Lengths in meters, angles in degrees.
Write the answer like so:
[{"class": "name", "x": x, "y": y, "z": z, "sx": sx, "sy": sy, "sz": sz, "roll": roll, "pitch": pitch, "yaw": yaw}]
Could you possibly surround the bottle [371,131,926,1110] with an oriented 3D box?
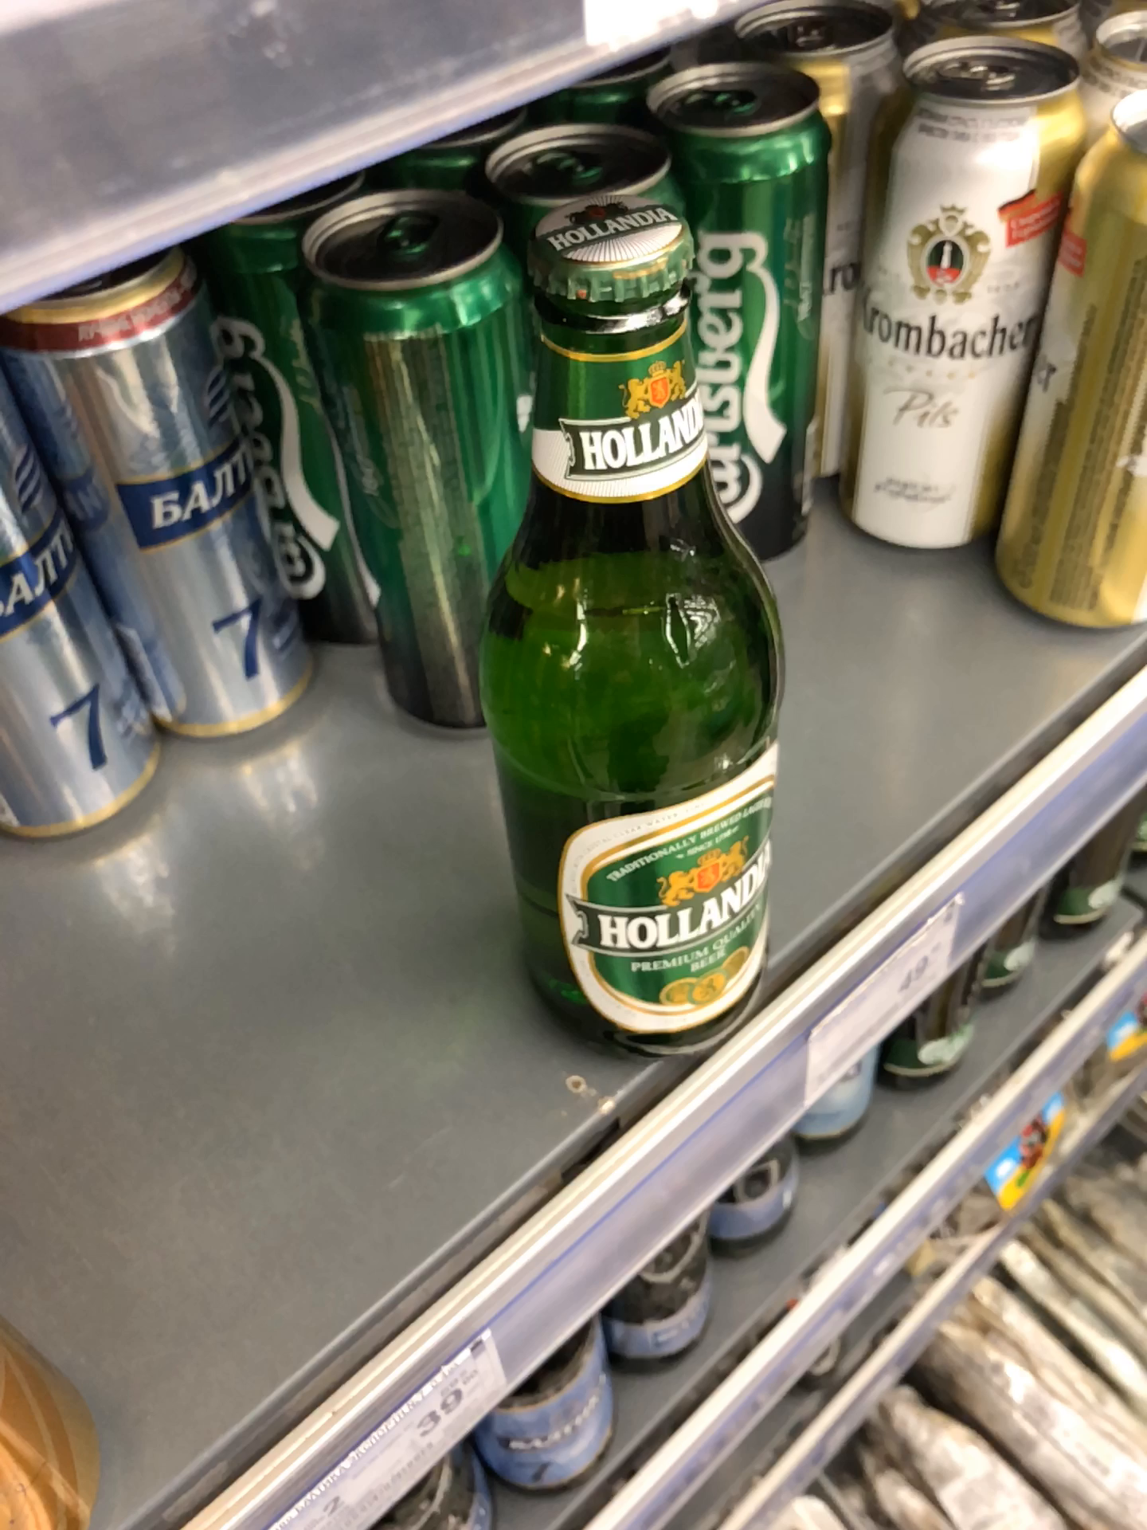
[{"class": "bottle", "x": 0.016, "y": -0.014, "z": 0.287, "sx": 0.070, "sy": 0.211, "sz": 0.063, "roll": -20, "pitch": 49, "yaw": -14}]
